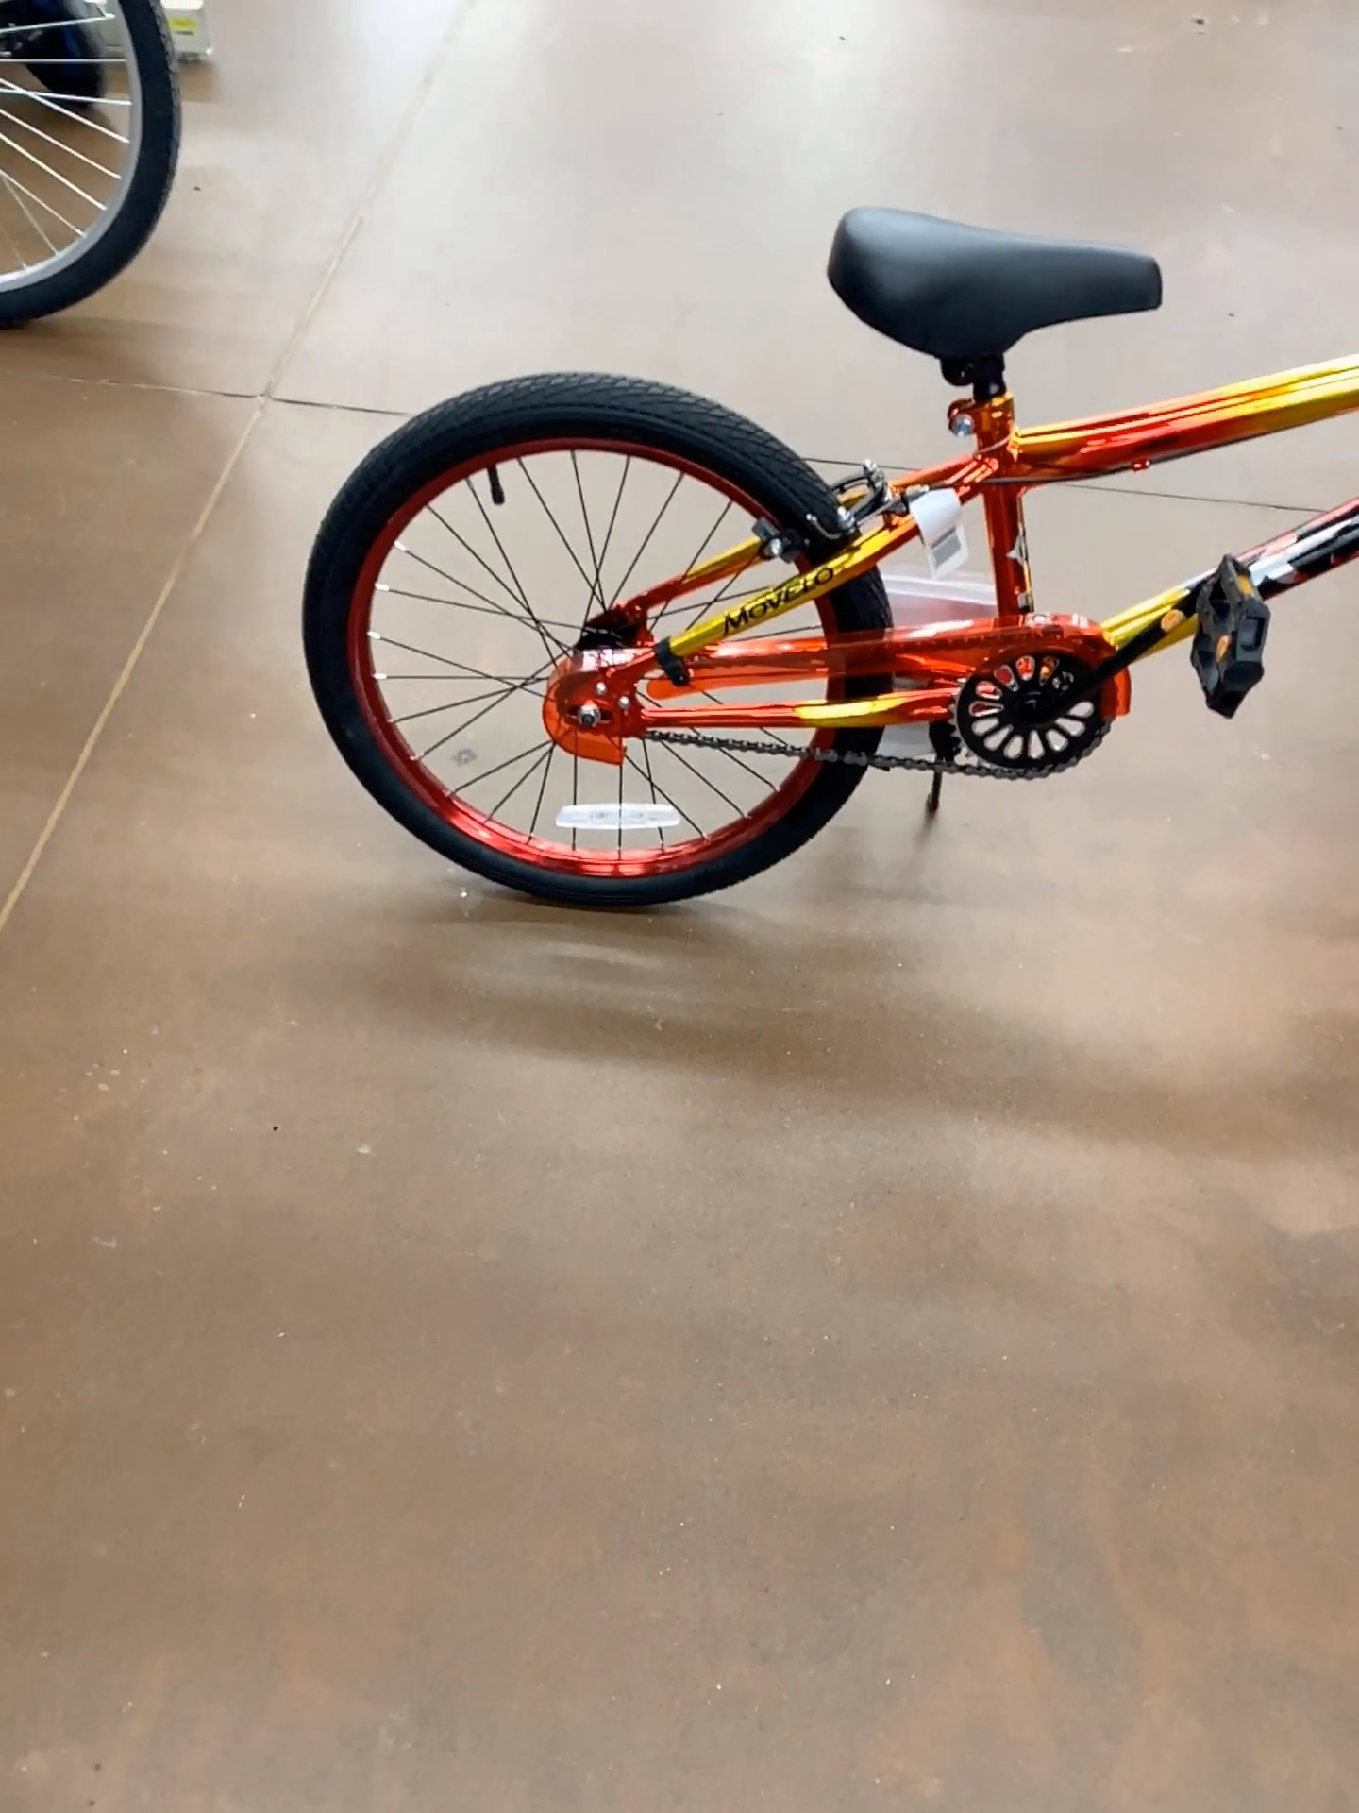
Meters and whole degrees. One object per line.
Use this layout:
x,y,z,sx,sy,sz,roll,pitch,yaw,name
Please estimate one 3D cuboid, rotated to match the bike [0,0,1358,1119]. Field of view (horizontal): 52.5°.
0.288,-0.446,1.018,1.123,0.926,0.706,-2,51,-5,bike
